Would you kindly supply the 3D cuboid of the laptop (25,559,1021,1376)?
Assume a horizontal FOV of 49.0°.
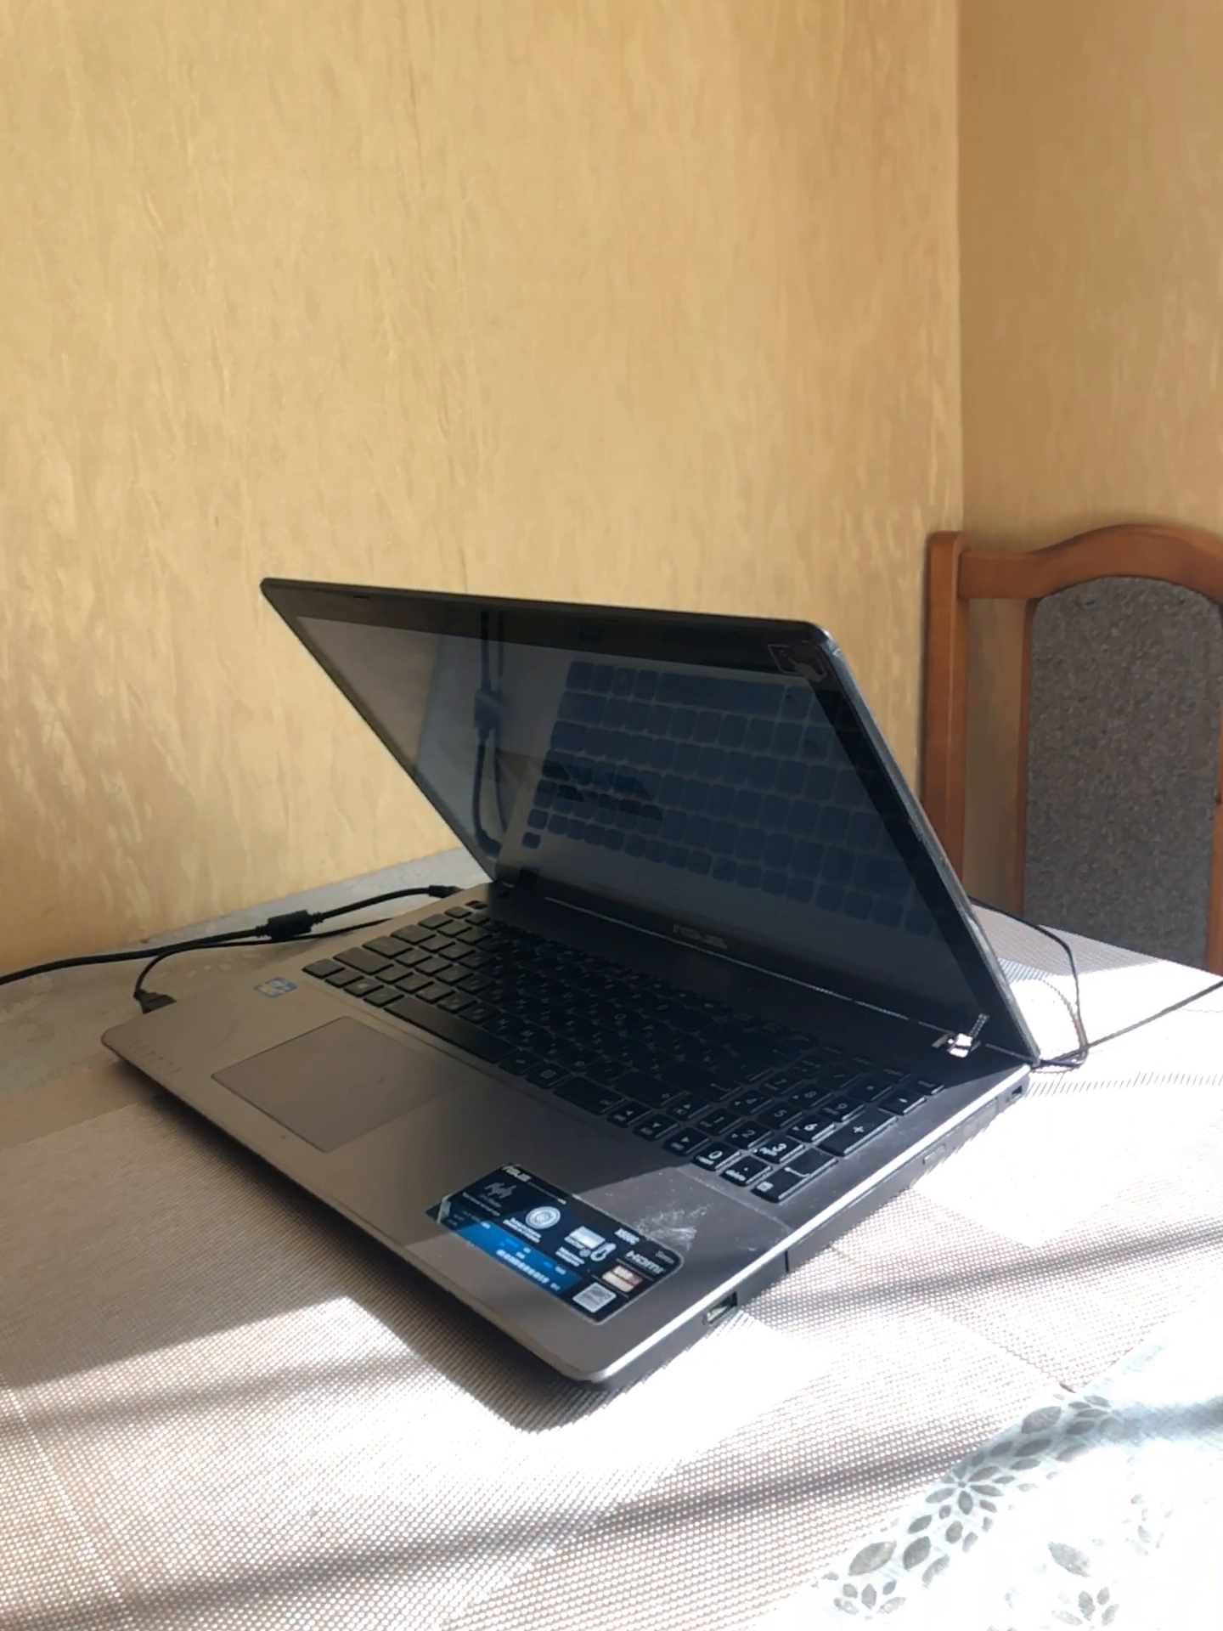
[{"bbox_3d":[-0.051,0.011,0.589,0.243,0.196,0.370,-19,22,-38],"label":"laptop"}]
